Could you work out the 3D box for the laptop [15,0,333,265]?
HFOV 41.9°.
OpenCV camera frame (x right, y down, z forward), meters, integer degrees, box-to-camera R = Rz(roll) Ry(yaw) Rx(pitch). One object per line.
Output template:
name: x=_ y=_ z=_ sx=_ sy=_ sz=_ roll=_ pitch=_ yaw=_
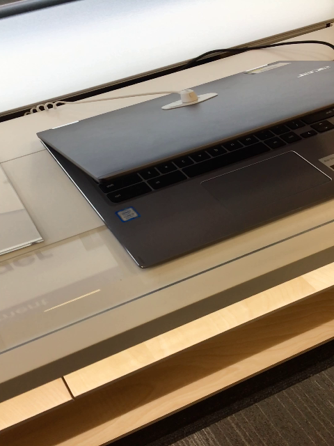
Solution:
laptop: x=0.061 y=-0.109 z=0.442 sx=0.315 sy=0.101 sz=0.212 roll=-23 pitch=56 yaw=-14
